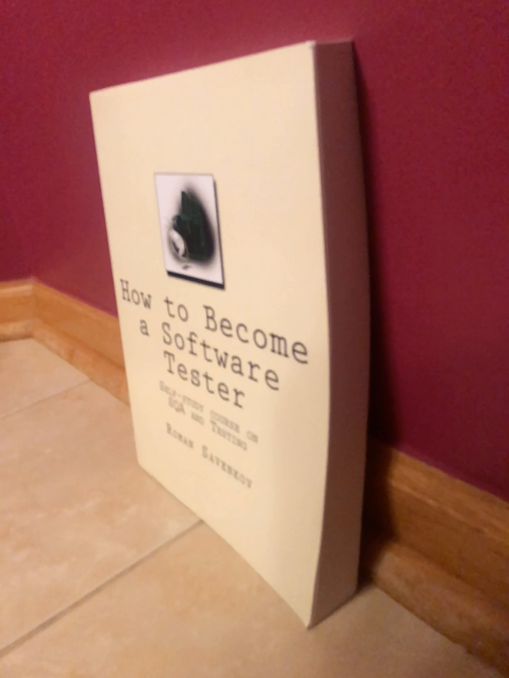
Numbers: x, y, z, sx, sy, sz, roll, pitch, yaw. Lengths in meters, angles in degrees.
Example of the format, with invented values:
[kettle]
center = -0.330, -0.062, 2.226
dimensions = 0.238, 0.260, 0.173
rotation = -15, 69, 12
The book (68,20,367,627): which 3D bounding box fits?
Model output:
[book]
center = -0.031, -0.014, 0.340
dimensions = 0.045, 0.274, 0.221
rotation = -16, 22, -32
